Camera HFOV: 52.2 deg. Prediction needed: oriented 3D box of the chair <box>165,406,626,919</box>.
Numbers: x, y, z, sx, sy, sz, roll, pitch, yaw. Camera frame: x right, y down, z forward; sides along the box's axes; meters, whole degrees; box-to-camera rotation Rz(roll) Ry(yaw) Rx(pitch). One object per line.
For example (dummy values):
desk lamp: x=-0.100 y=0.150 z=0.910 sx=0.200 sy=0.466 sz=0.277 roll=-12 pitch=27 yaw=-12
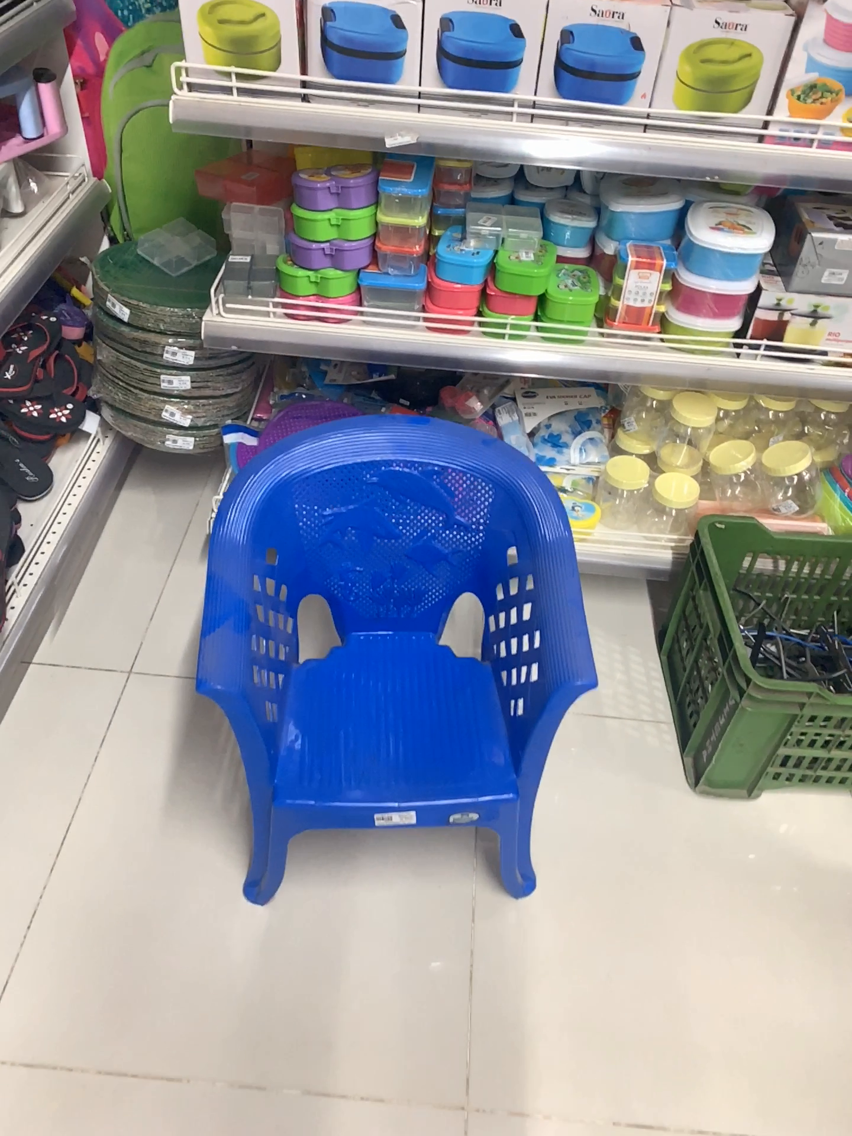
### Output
chair: x=-0.049 y=0.119 z=1.114 sx=0.420 sy=0.469 sz=0.451 roll=-1 pitch=45 yaw=-4
